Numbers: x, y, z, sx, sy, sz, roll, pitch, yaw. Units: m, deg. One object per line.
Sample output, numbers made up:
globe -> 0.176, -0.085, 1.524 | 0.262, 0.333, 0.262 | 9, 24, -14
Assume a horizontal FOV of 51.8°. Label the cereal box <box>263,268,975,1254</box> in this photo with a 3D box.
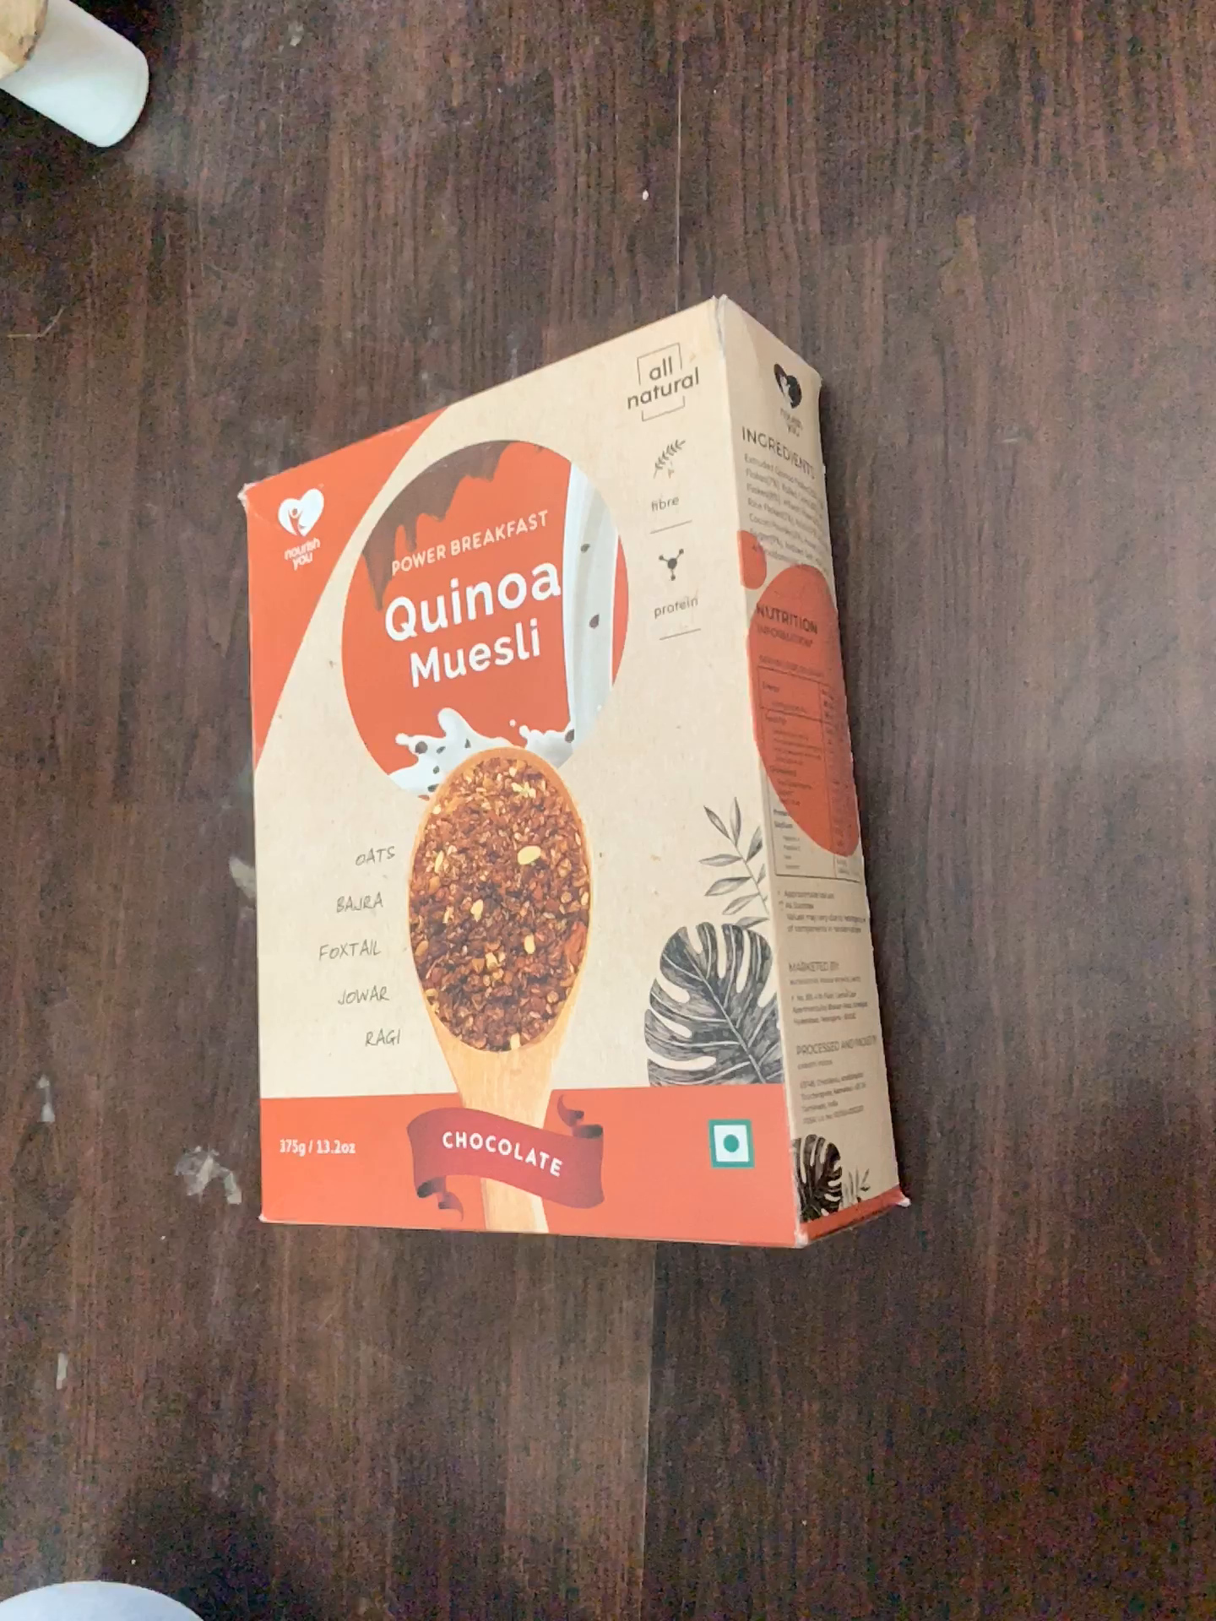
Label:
cereal box -> -0.007, -0.002, 0.336 | 0.171, 0.070, 0.210 | -9, 78, 33
